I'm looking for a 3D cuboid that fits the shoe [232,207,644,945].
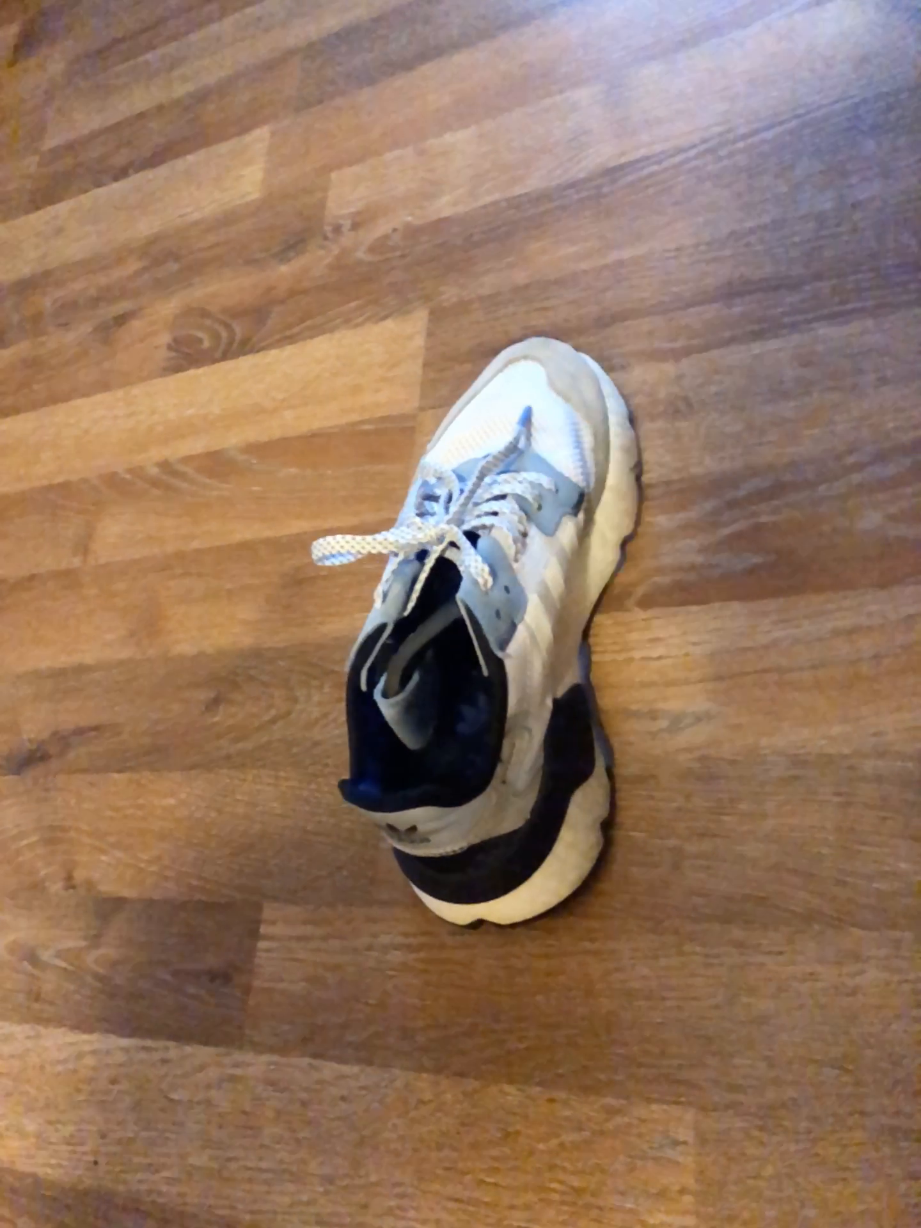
[{"bbox_3d":[0.005,-0.011,0.424,0.113,0.110,0.271,-7,66,26],"label":"shoe"}]
